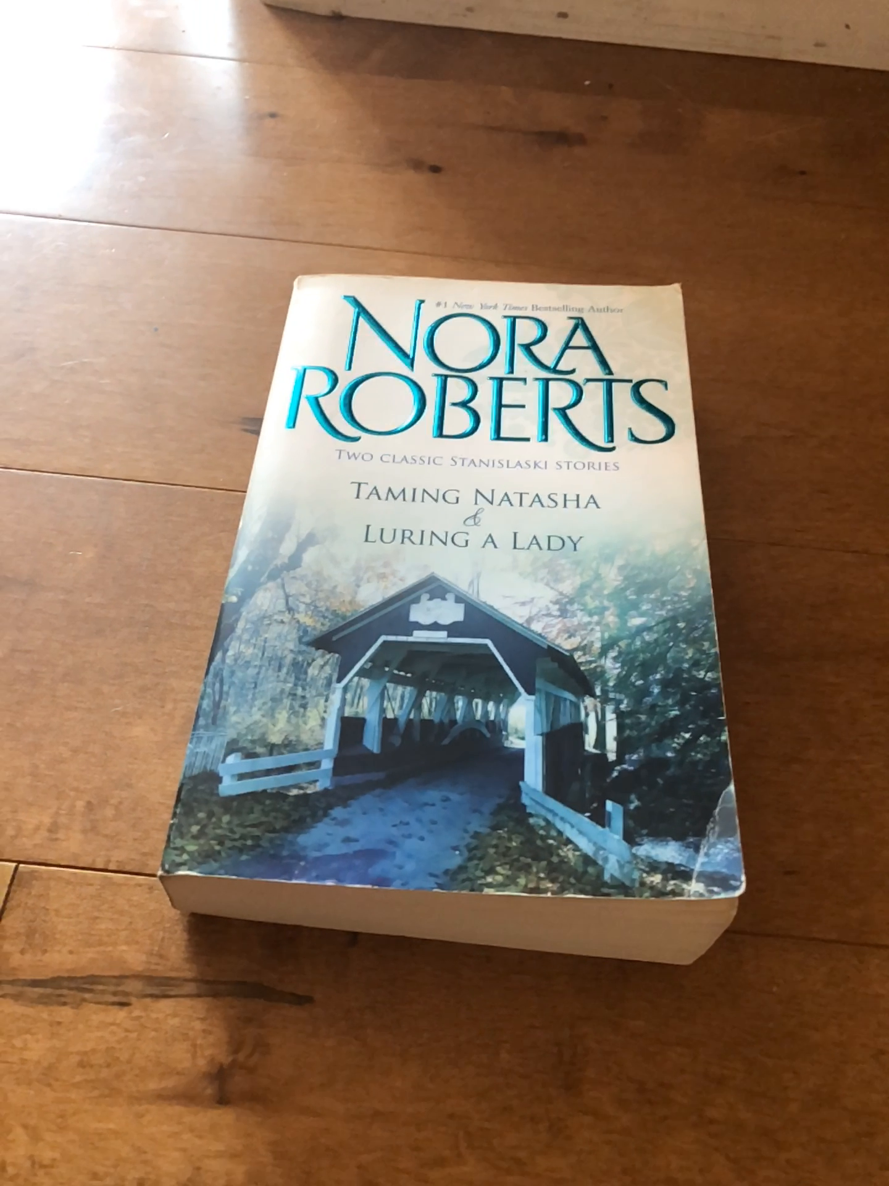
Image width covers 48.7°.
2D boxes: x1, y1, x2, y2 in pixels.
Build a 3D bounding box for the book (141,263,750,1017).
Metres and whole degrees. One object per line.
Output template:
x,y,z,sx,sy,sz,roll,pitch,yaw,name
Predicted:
0.006,-0.003,0.287,0.130,0.040,0.221,4,57,0,book
